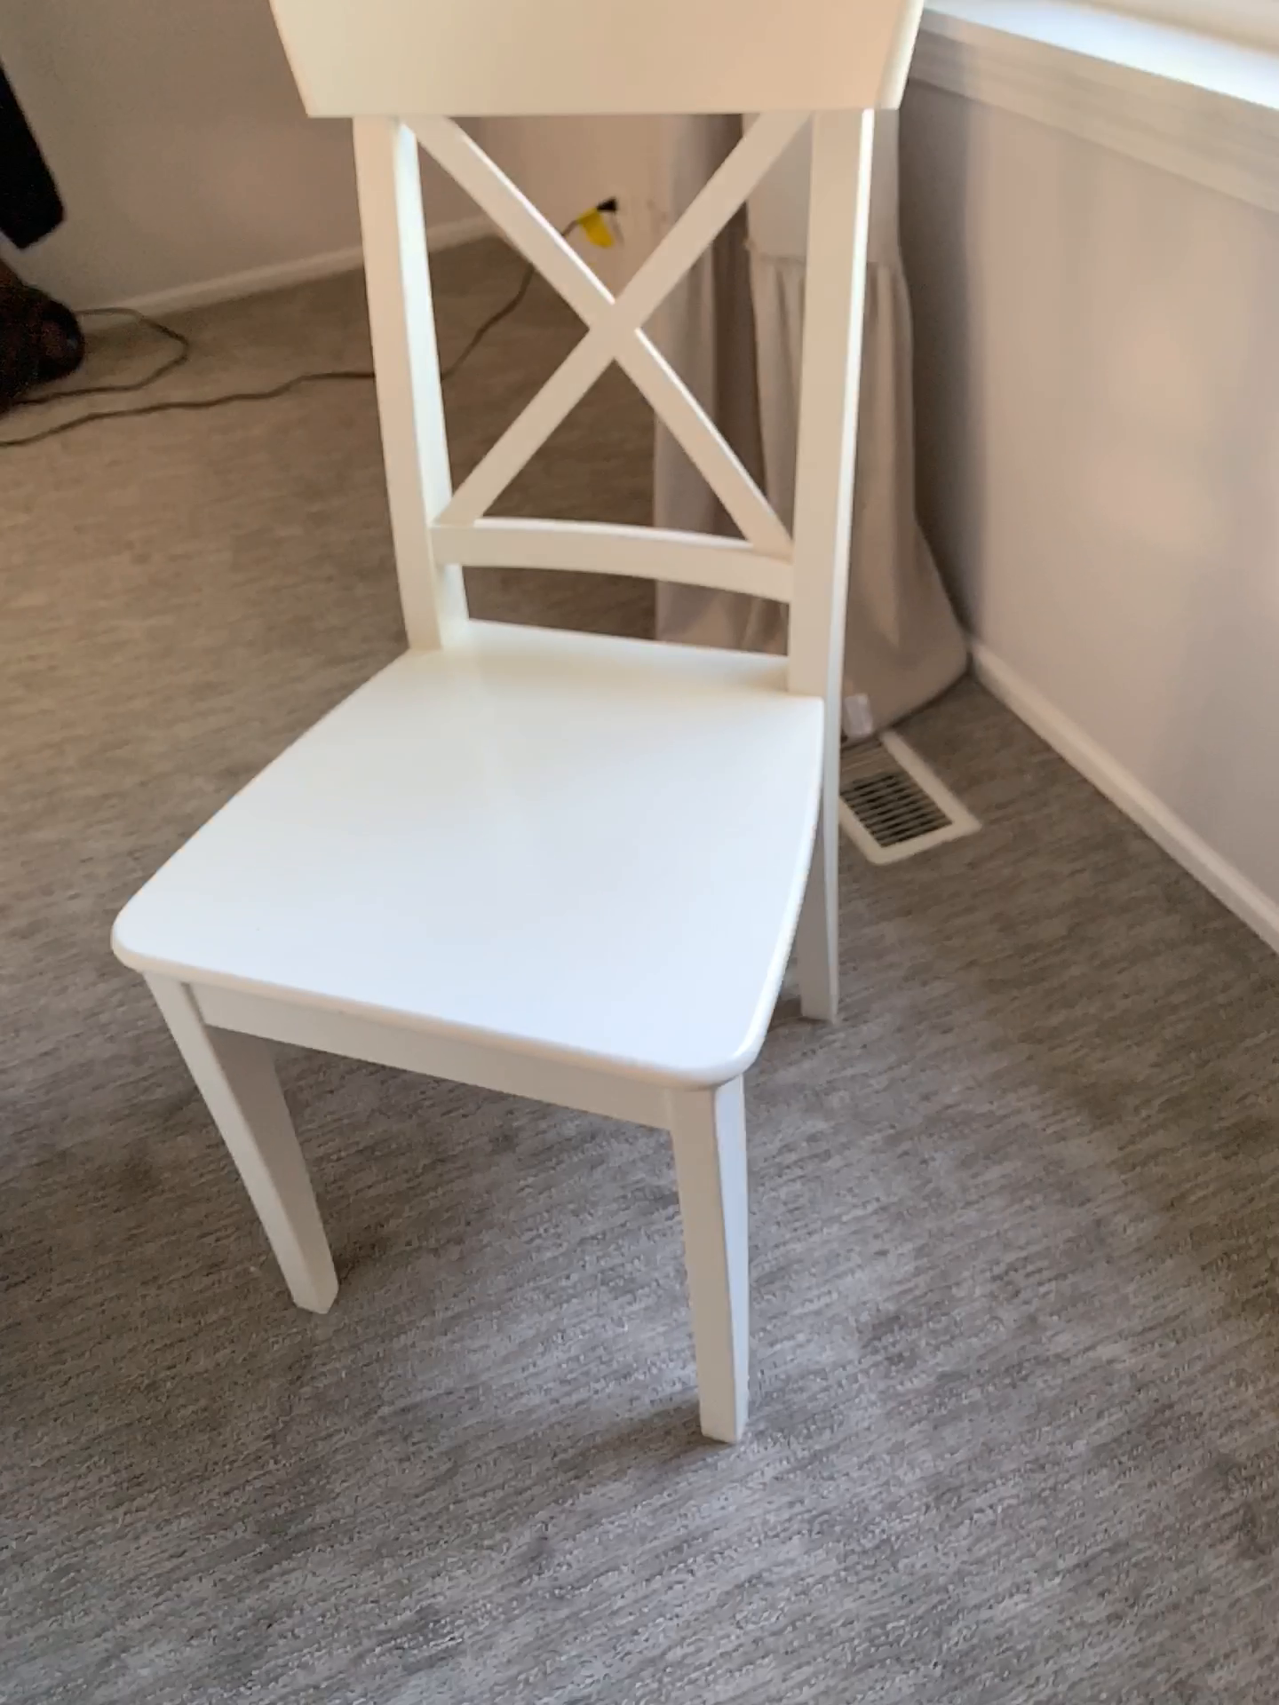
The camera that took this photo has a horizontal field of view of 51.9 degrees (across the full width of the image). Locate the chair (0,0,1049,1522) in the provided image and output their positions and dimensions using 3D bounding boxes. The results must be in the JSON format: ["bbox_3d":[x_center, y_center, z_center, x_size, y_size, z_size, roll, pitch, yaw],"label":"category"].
[{"bbox_3d":[-0.116,-0.088,0.846,0.571,0.855,0.482,11,44,20],"label":"chair"}]
